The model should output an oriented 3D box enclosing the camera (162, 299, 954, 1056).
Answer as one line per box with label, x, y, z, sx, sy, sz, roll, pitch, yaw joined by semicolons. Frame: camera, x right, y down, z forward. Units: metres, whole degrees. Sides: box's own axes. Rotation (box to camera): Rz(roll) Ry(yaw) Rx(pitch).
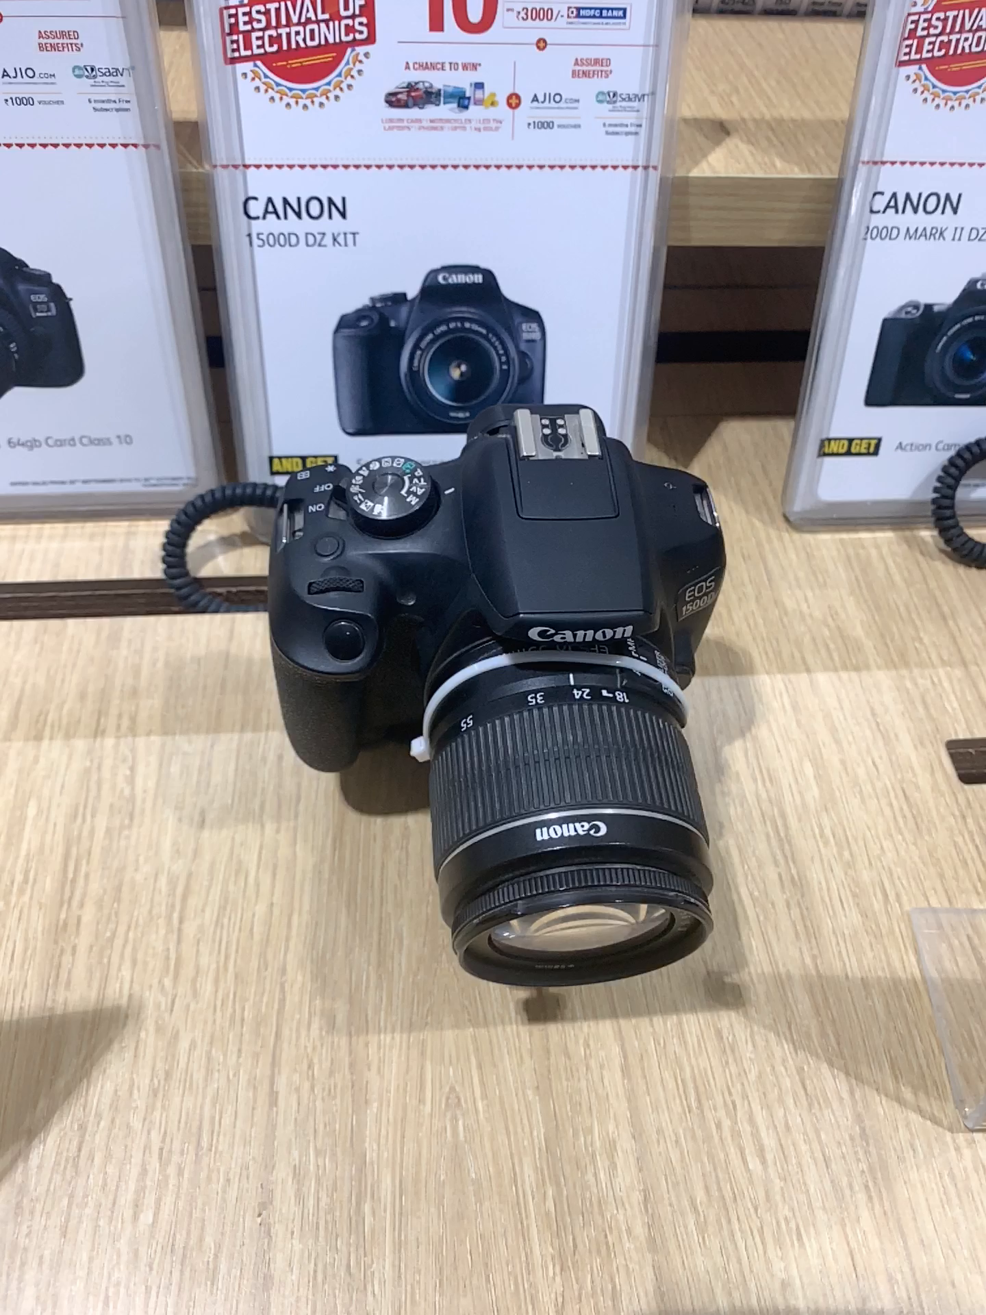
camera;0.003;-0.001;0.266;0.140;0.100;0.160;-4;53;-6
